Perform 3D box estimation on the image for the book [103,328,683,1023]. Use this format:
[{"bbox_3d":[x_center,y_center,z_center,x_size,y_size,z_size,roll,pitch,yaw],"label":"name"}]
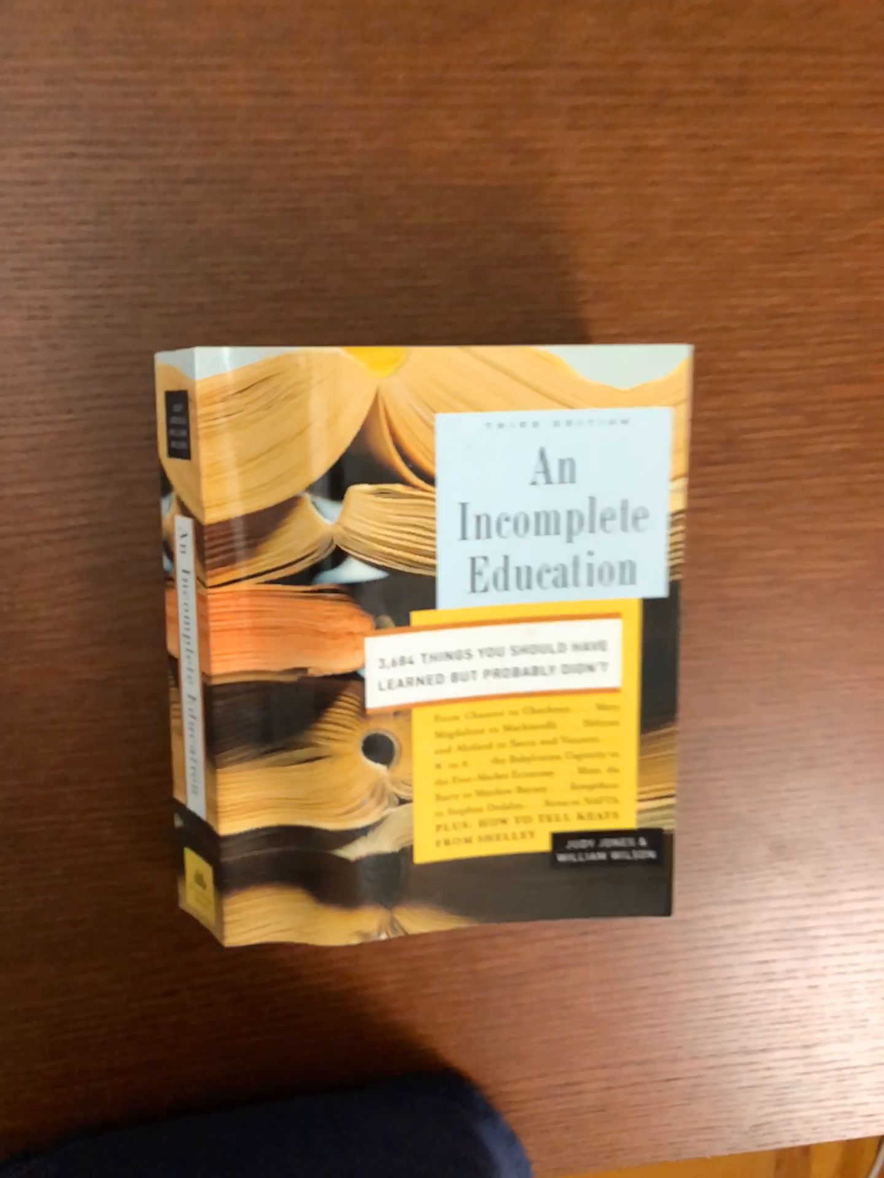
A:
[{"bbox_3d":[-0.013,0.027,0.402,0.210,0.060,0.250,-5,102,-14],"label":"book"}]
